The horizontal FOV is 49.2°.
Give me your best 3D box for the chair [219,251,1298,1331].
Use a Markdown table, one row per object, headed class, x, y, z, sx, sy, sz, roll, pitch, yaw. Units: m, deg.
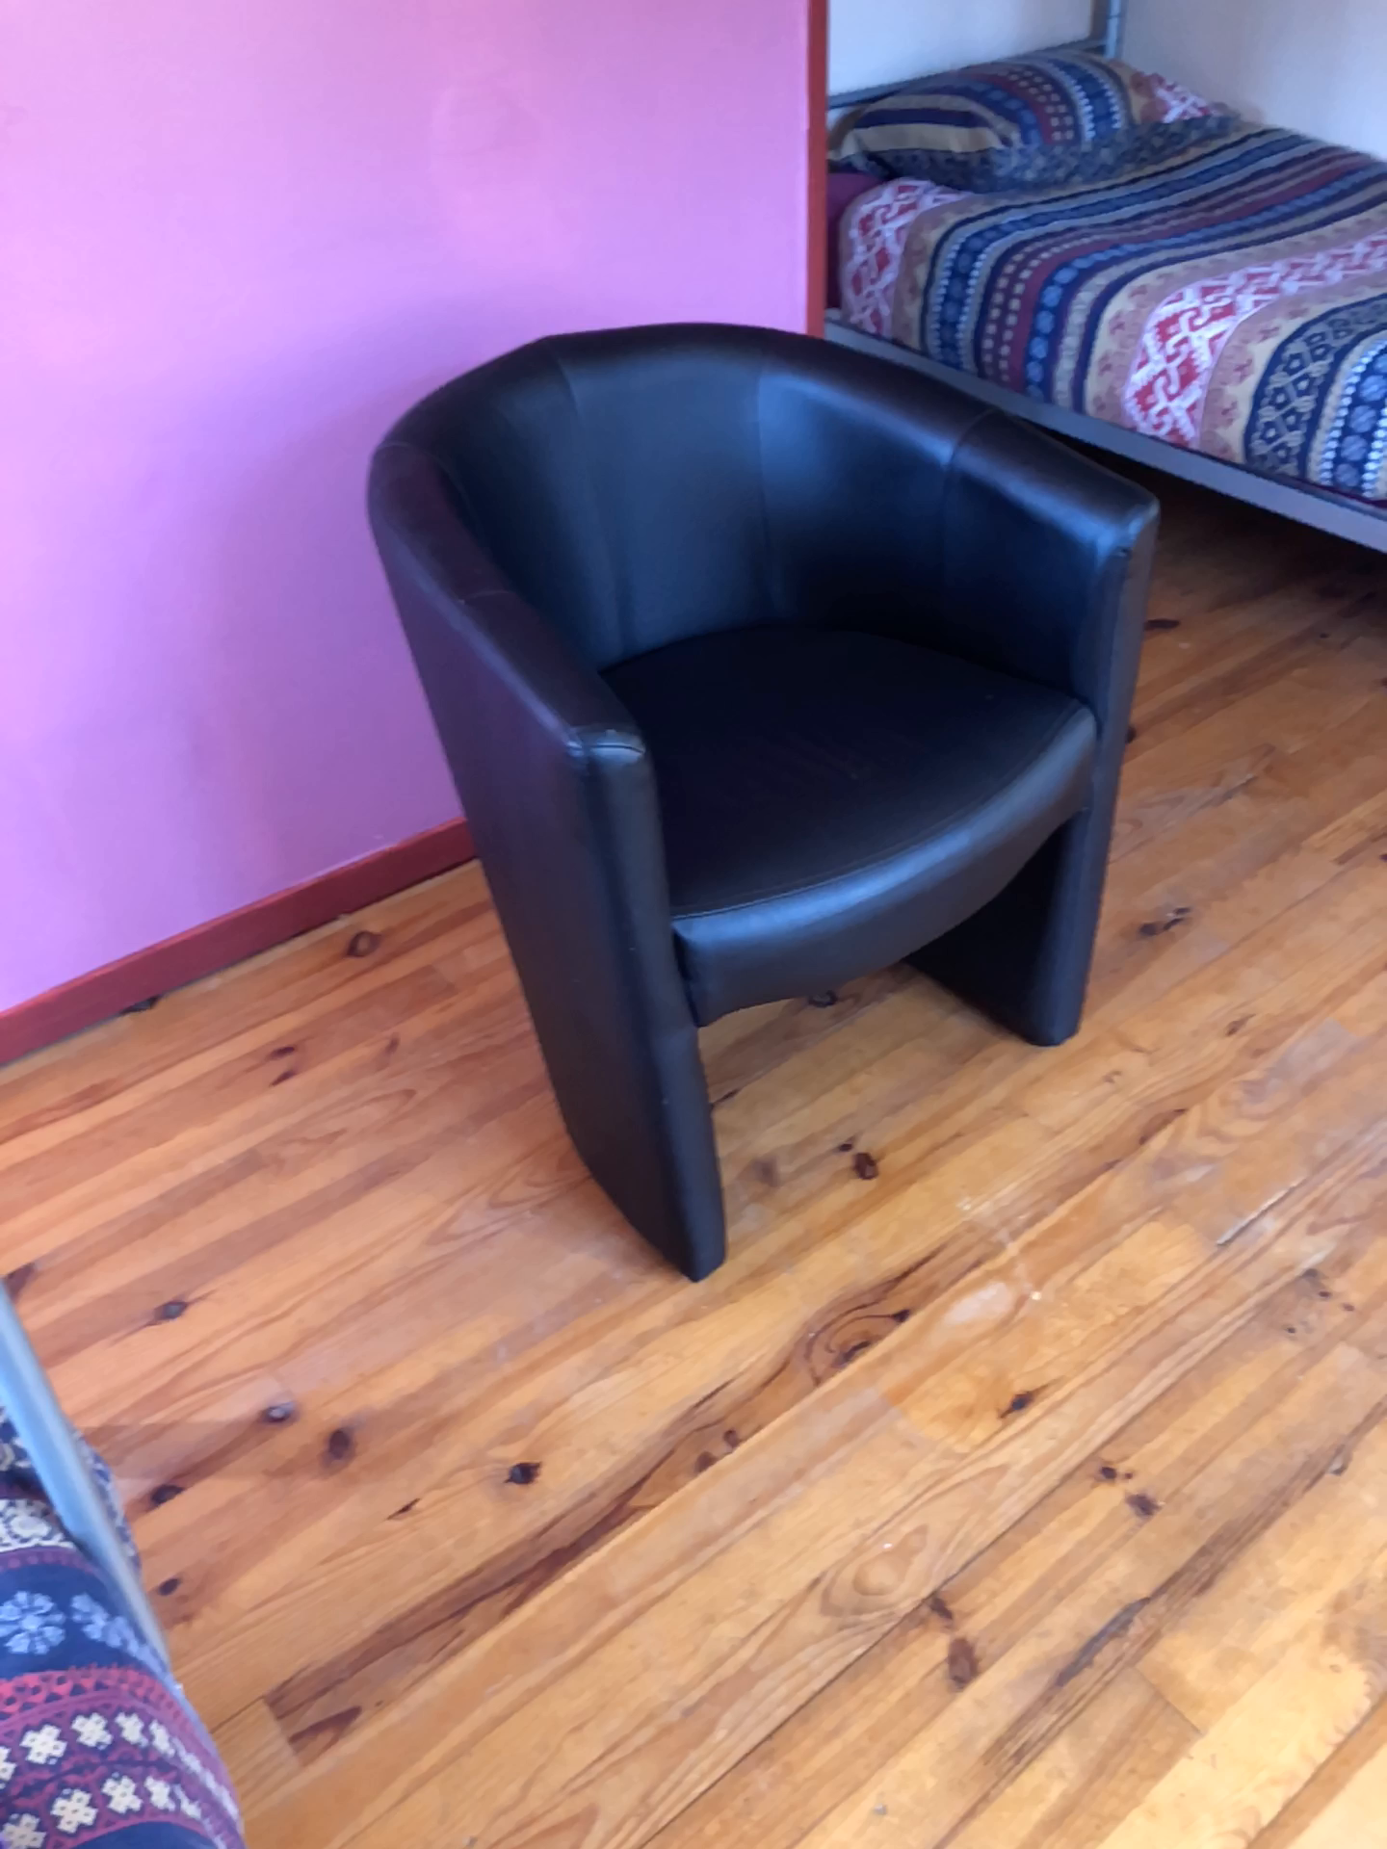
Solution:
| class | x | y | z | sx | sy | sz | roll | pitch | yaw |
| --- | --- | --- | --- | --- | --- | --- | --- | --- | --- |
| chair | 0.057 | -0.178 | 1.457 | 0.673 | 0.646 | 0.591 | -28 | 45 | -28 |
